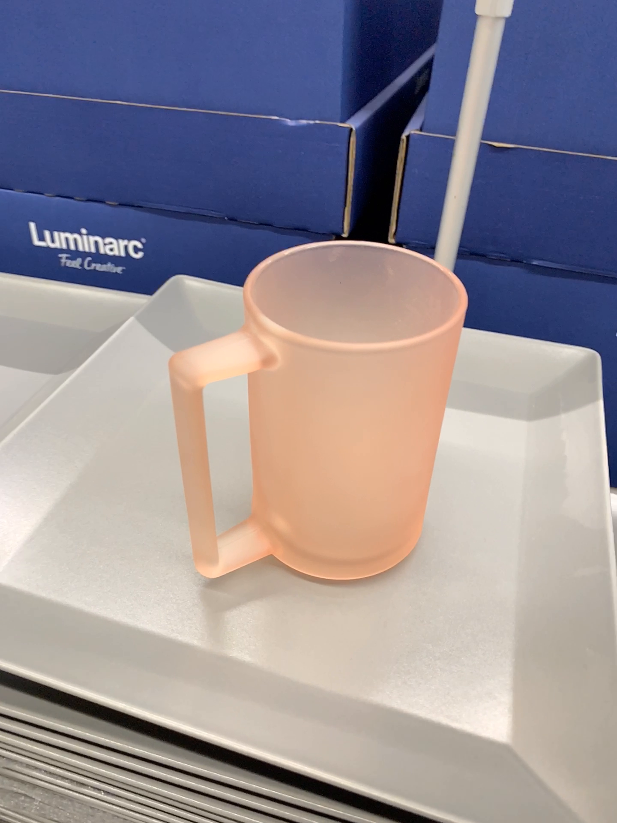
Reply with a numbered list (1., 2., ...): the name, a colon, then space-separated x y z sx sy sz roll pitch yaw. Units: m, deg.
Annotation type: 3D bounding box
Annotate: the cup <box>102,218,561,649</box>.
1. cup: 0.002 -0.002 0.237 0.120 0.095 0.095 -16 40 -25
